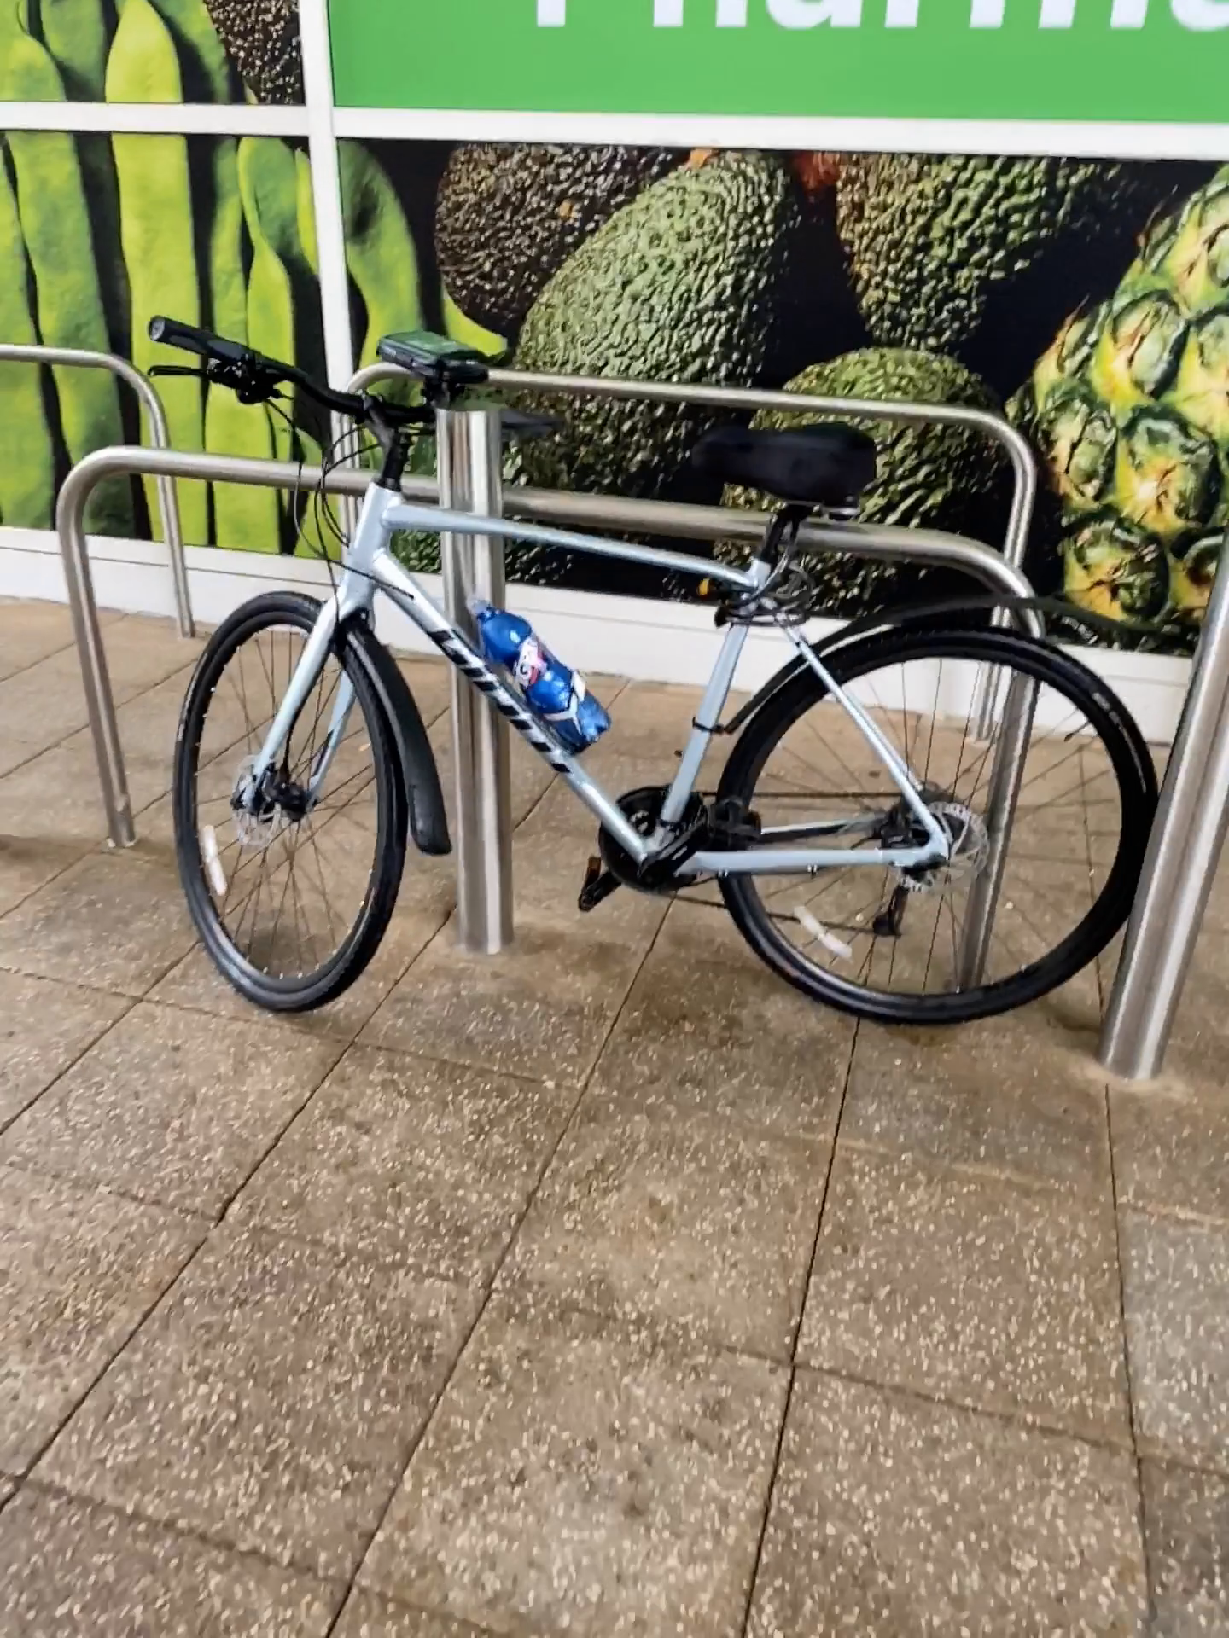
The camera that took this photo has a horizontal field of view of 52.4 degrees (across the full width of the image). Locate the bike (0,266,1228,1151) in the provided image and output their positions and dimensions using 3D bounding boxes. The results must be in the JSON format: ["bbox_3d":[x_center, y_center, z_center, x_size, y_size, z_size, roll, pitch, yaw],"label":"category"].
[{"bbox_3d":[0.040,-0.210,1.789,1.461,0.962,0.609,6,28,7],"label":"bike"}]
